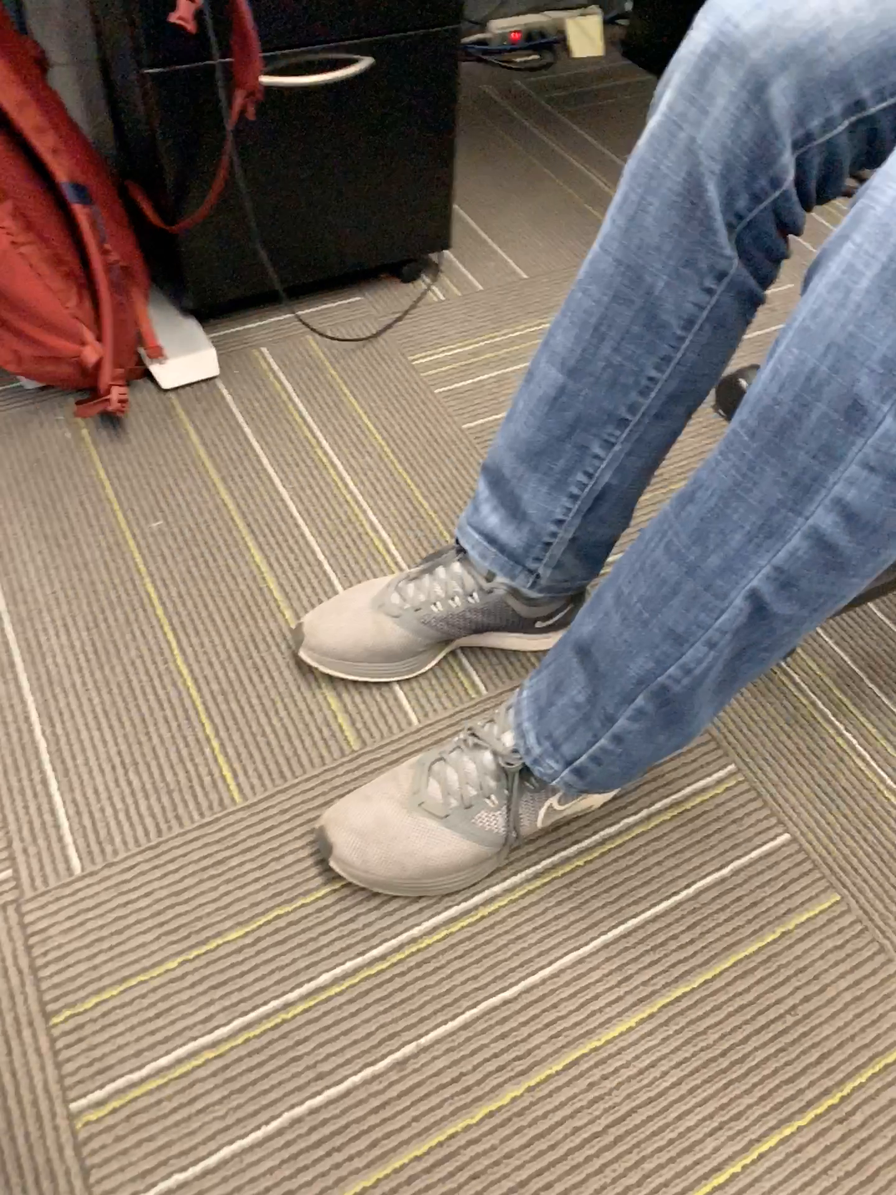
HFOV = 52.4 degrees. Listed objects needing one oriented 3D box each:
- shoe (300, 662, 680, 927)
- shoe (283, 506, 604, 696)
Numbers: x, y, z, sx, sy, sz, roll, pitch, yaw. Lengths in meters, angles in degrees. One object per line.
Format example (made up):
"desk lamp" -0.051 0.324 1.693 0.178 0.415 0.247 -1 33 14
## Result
"shoe" 0.032 0.161 0.774 0.286 0.078 0.124 -14 53 -14
"shoe" -0.009 0.000 0.892 0.283 0.078 0.133 -7 51 -9
